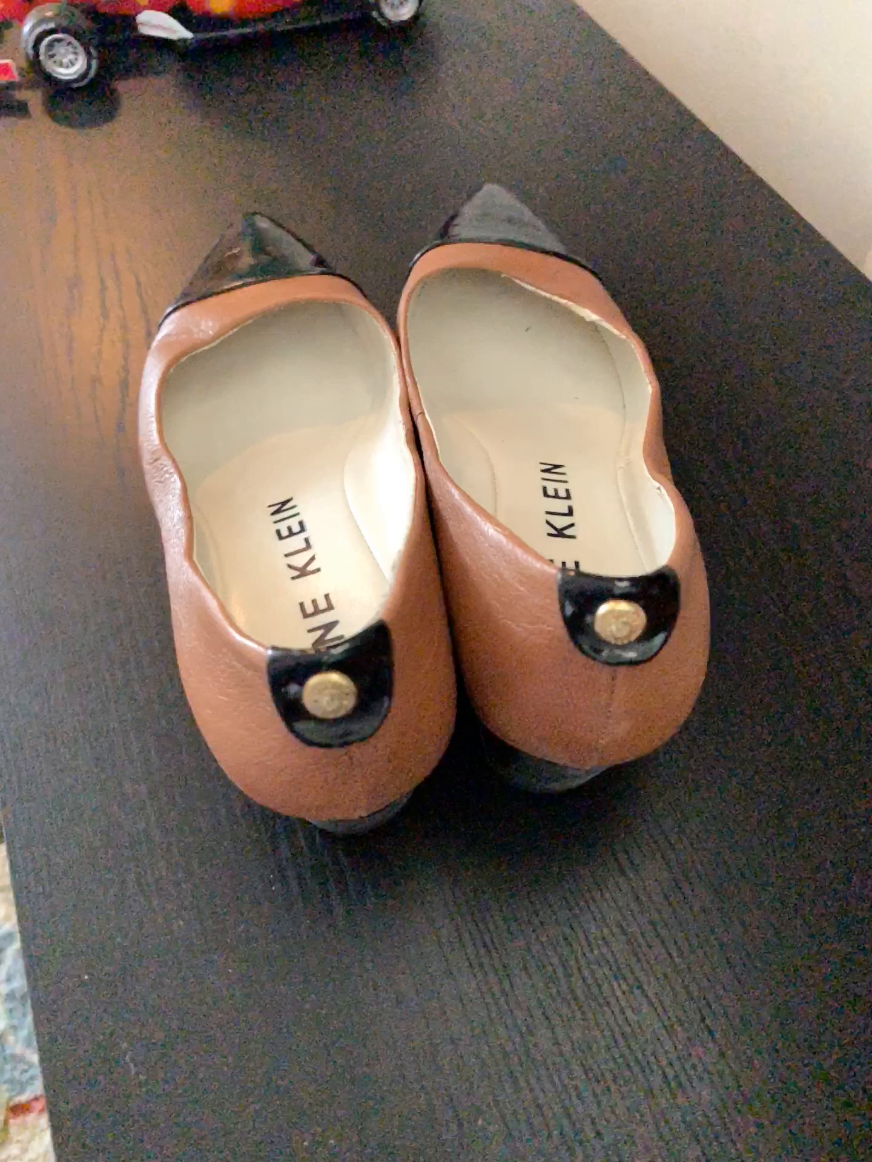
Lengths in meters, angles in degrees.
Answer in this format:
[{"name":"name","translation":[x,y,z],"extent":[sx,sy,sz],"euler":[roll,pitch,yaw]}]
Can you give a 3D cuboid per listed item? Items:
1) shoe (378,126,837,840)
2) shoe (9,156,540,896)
[{"name":"shoe","translation":[0.024,-0.059,0.282],"extent":[0.080,0.079,0.262],"euler":[-2,42,-2]},{"name":"shoe","translation":[-0.048,-0.049,0.279],"extent":[0.090,0.079,0.262],"euler":[-7,41,-7]}]
